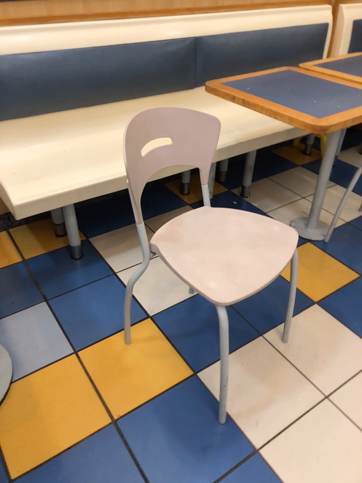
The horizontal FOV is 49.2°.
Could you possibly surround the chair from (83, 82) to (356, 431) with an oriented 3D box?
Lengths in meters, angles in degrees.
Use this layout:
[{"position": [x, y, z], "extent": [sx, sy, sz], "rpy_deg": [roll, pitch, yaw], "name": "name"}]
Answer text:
[{"position": [0.092, 0.031, 1.170], "extent": [0.471, 0.794, 0.452], "rpy_deg": [27, 43, 31], "name": "chair"}]
